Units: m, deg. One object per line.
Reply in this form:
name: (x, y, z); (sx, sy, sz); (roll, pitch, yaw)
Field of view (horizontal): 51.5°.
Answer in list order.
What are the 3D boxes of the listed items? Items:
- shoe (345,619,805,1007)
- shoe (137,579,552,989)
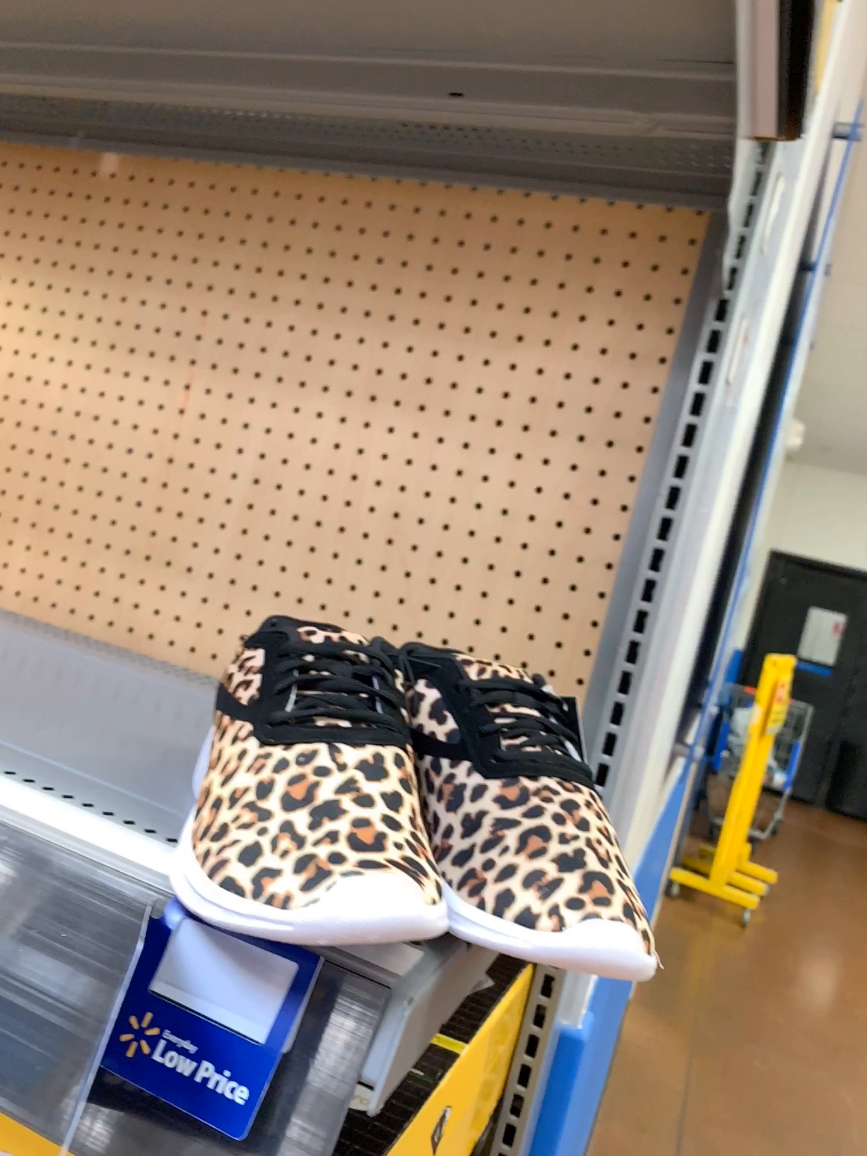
shoe: (0.045, 0.096, 0.445); (0.110, 0.091, 0.240); (13, 3, -19)
shoe: (-0.055, 0.072, 0.412); (0.119, 0.091, 0.240); (13, 3, -15)
